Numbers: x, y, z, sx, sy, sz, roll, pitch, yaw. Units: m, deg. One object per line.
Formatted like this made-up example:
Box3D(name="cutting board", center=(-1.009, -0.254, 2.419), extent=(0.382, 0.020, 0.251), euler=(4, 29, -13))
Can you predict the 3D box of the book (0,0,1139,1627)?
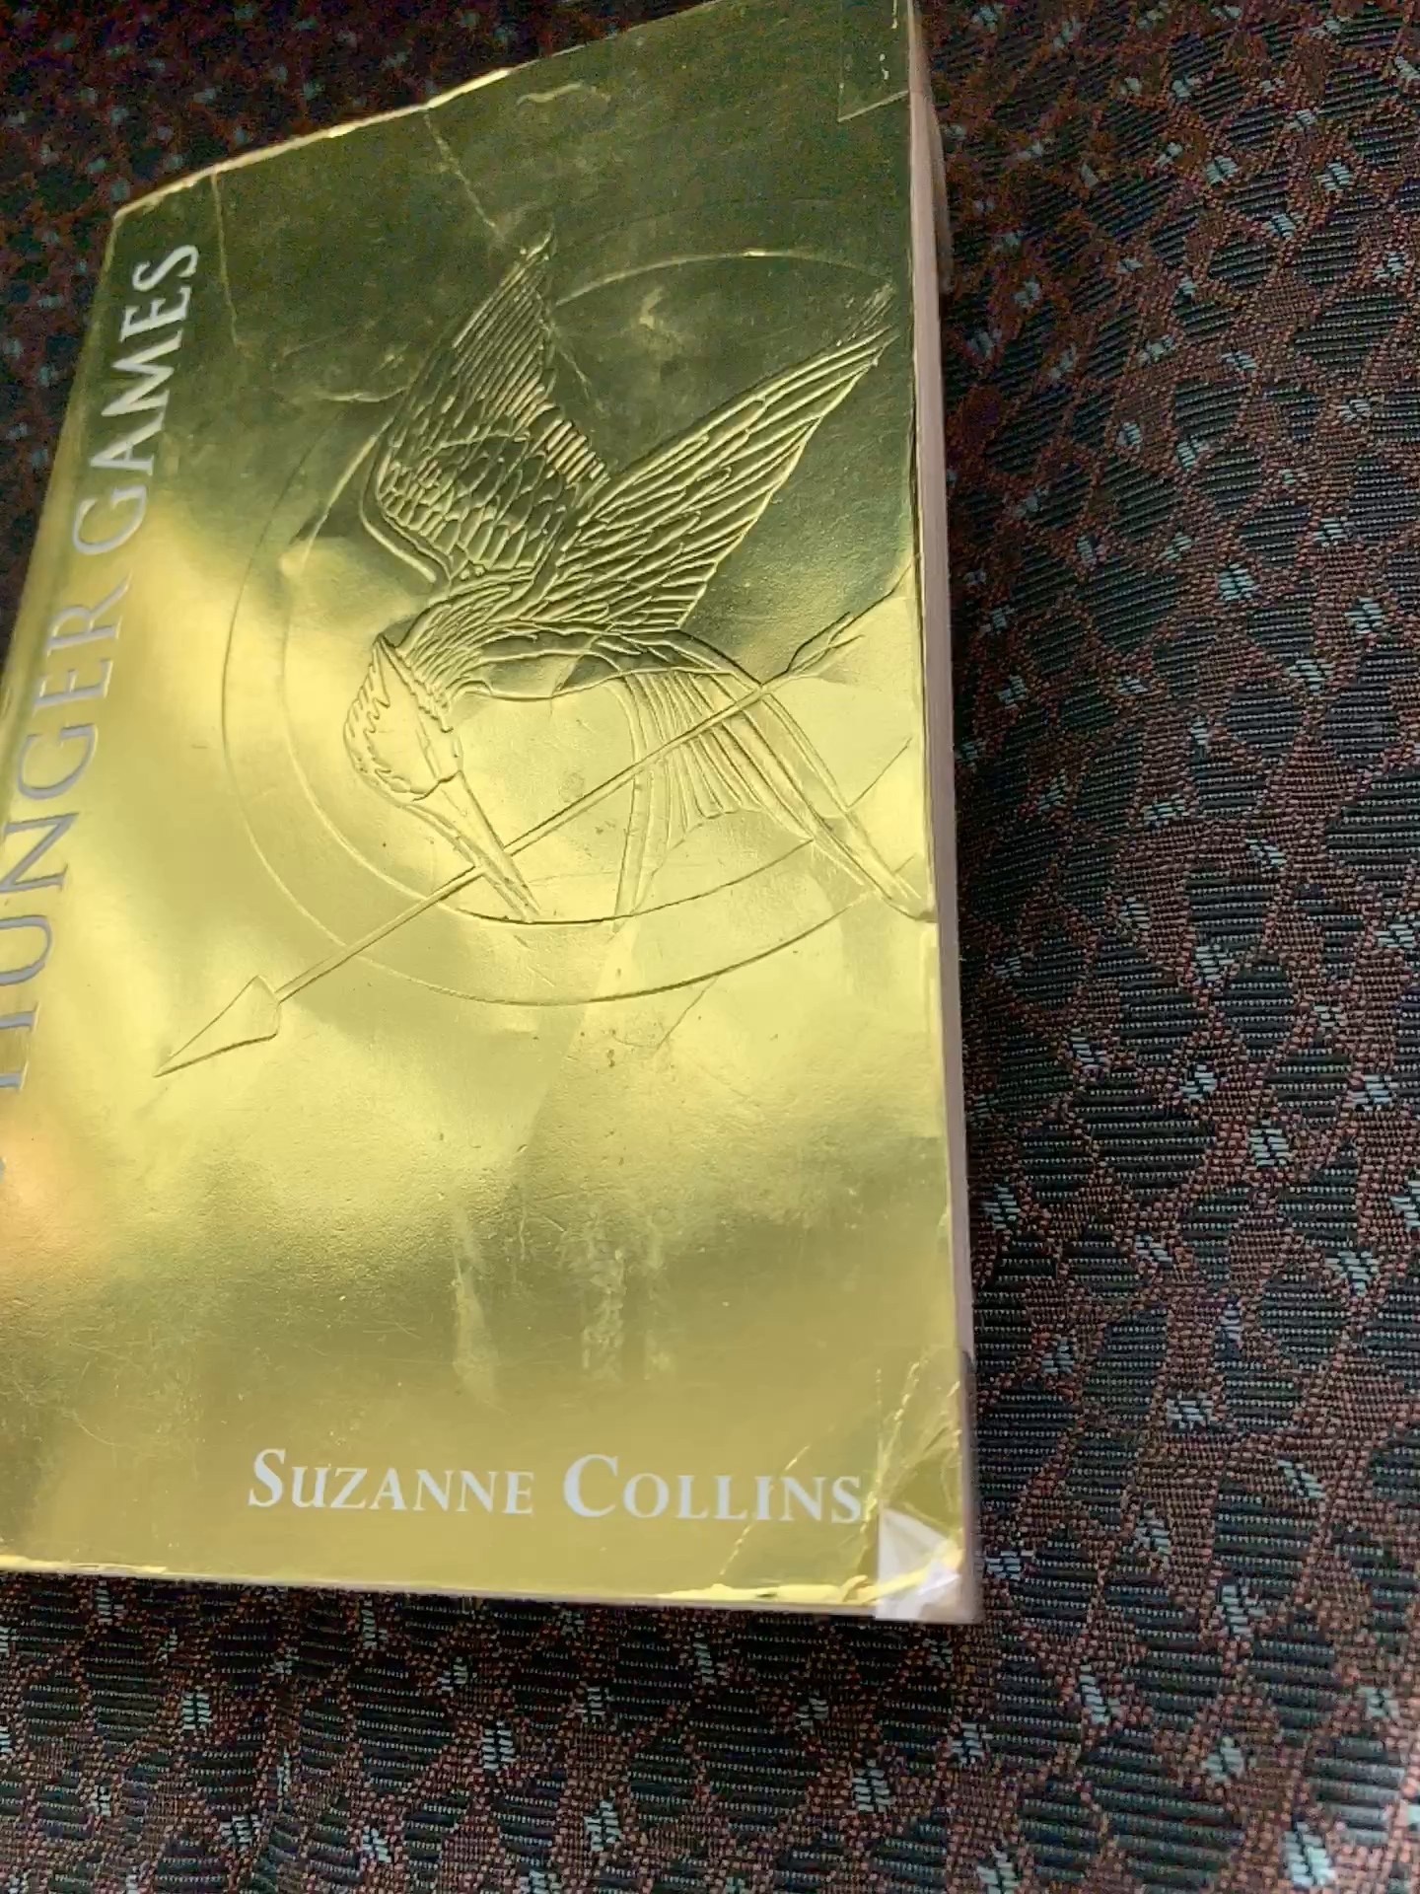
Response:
Box3D(name="book", center=(-0.028, -0.026, 0.192), extent=(0.142, 0.037, 0.201), euler=(-6, 67, 18))
